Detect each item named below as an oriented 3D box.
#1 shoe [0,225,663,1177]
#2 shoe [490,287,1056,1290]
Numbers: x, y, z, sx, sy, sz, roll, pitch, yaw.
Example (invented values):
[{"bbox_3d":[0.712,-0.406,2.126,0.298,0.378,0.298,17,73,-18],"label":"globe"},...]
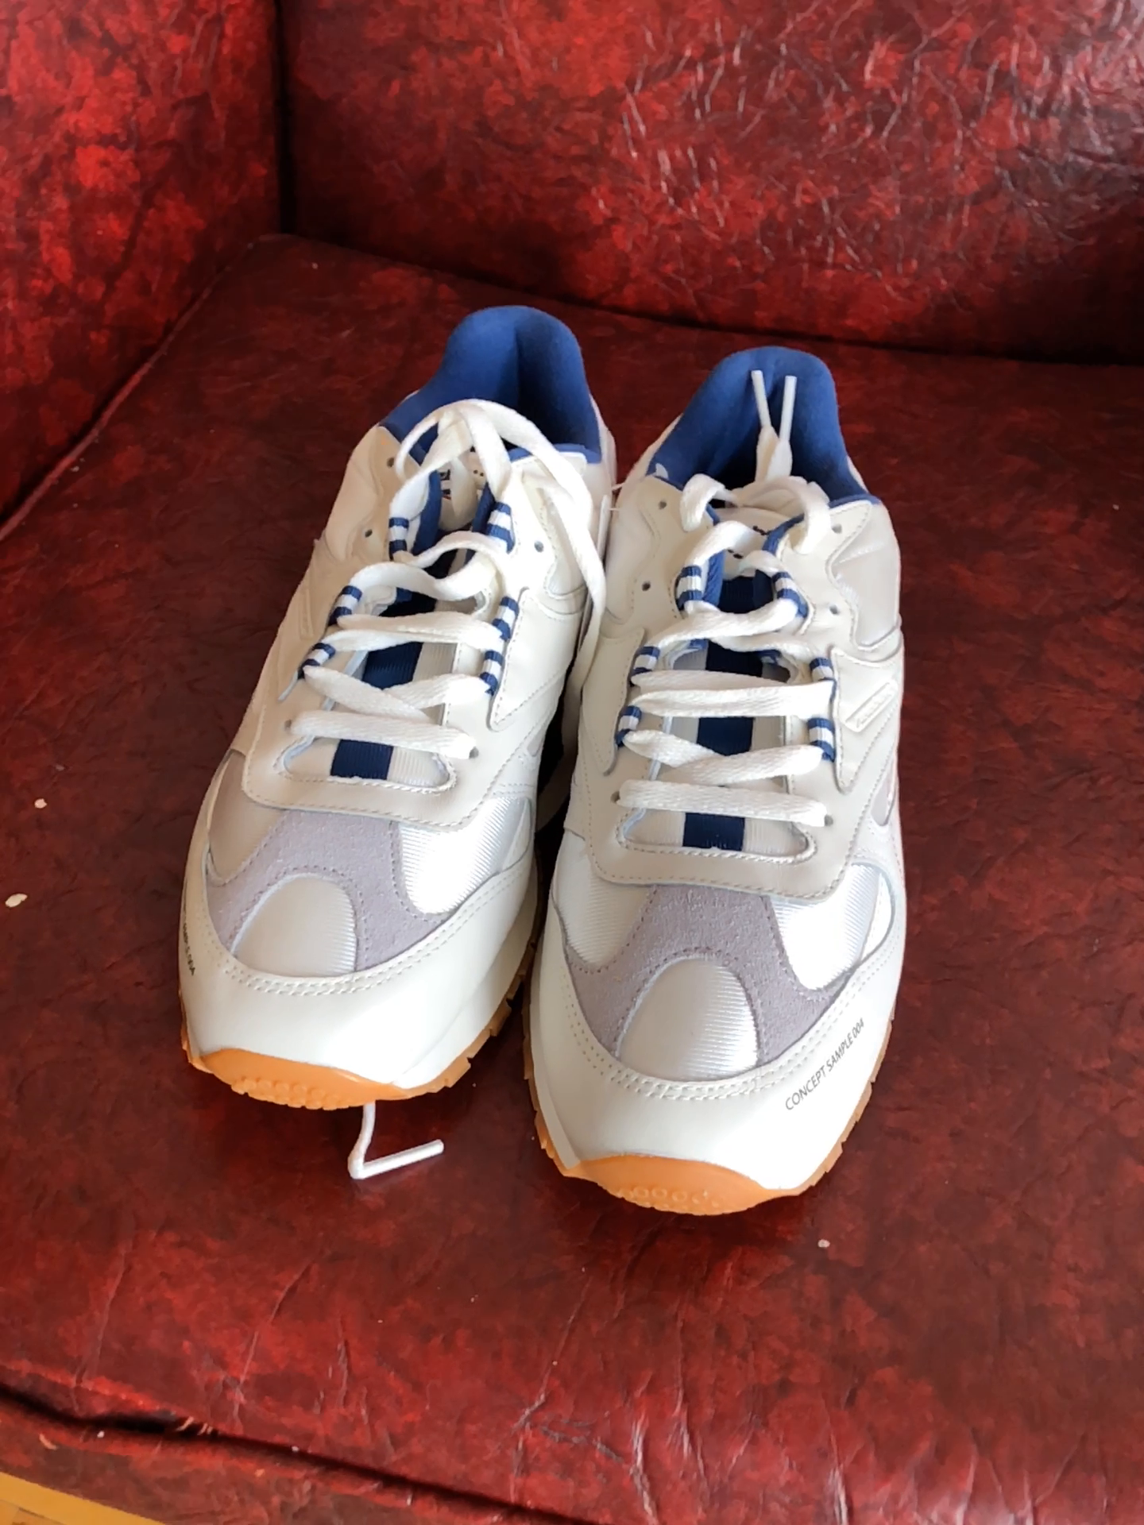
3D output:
[{"bbox_3d":[-0.048,-0.036,0.377,0.110,0.099,0.272,9,53,4],"label":"shoe"},{"bbox_3d":[0.059,-0.011,0.366,0.110,0.099,0.272,9,53,4],"label":"shoe"}]
